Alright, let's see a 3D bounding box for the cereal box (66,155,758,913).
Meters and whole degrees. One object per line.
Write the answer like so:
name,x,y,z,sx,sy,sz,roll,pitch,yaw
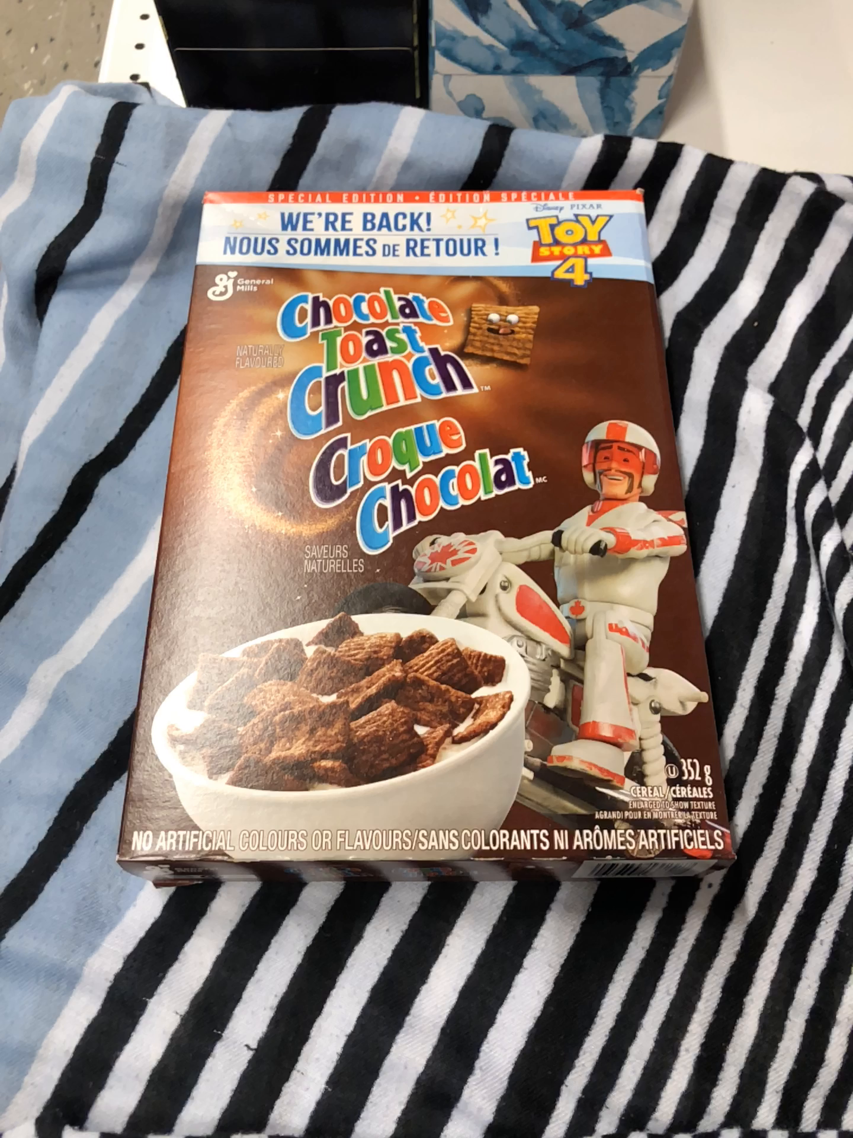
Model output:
cereal box,-0.005,-0.027,0.375,0.210,0.060,0.300,0,67,-1
